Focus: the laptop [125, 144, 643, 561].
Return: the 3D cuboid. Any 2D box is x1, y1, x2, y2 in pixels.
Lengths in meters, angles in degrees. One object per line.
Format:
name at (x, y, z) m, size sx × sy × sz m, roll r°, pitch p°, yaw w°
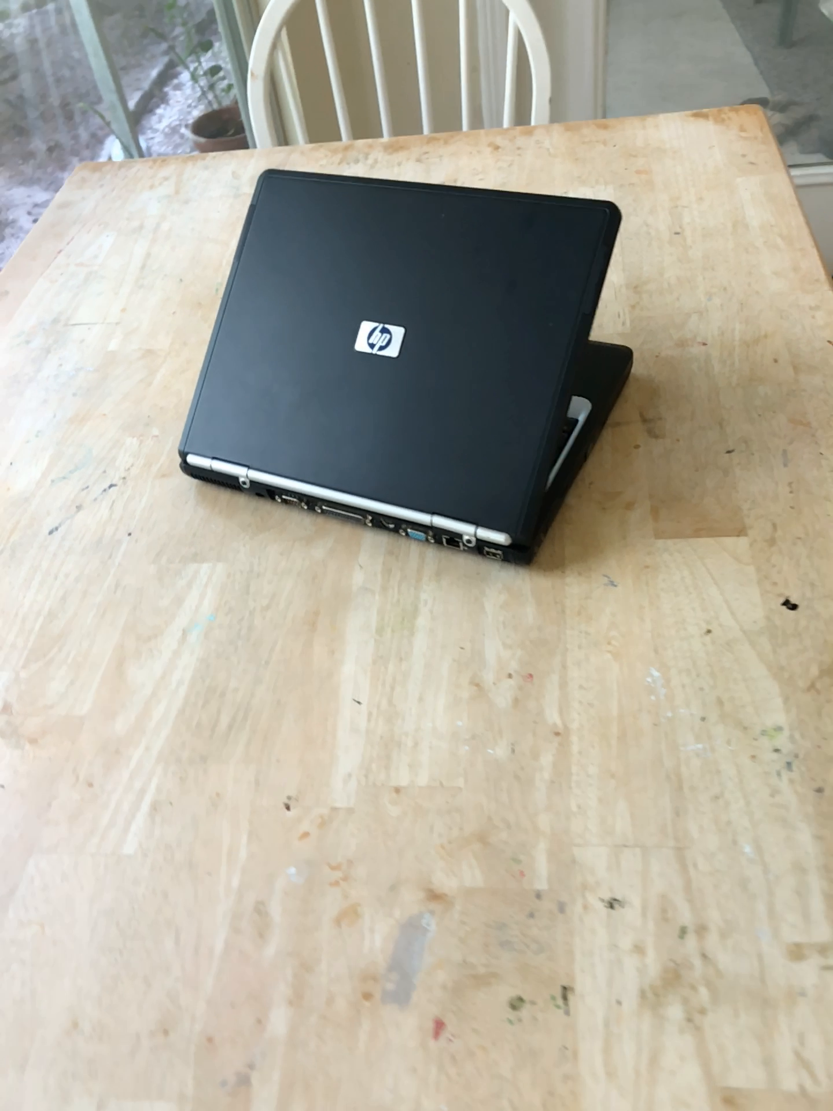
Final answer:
laptop at (-0.010, -0.180, 0.740) m, size 0.306 × 0.162 × 0.256 m, roll 15°, pitch 53°, yaw 22°
